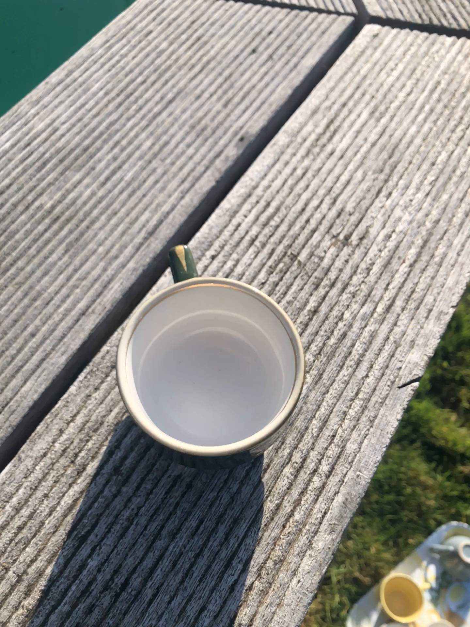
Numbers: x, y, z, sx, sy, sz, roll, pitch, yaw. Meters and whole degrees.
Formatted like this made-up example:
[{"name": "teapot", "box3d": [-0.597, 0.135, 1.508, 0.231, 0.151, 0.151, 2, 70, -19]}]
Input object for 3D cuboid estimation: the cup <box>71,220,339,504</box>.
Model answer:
[{"name": "cup", "box3d": [-0.016, 0.018, 0.227, 0.083, 0.038, 0.095, -16, 66, -9]}]
